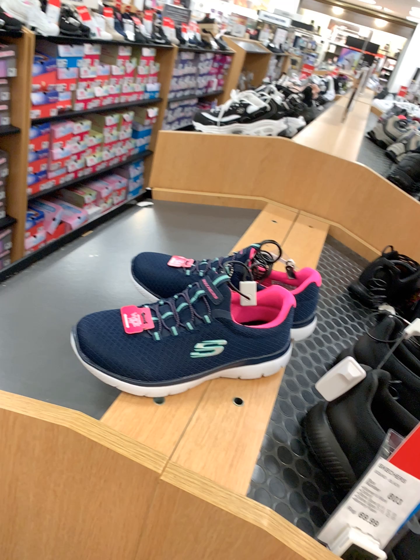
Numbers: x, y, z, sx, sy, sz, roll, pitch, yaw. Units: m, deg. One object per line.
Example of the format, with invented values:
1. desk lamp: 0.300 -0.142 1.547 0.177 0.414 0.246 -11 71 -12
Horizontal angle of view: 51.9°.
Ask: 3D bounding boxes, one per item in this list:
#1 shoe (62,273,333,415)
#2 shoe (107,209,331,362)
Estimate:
1. shoe: -0.016 0.061 0.465 0.260 0.090 0.100 1 34 -24
2. shoe: 0.010 0.005 0.562 0.250 0.099 0.111 14 30 -5
